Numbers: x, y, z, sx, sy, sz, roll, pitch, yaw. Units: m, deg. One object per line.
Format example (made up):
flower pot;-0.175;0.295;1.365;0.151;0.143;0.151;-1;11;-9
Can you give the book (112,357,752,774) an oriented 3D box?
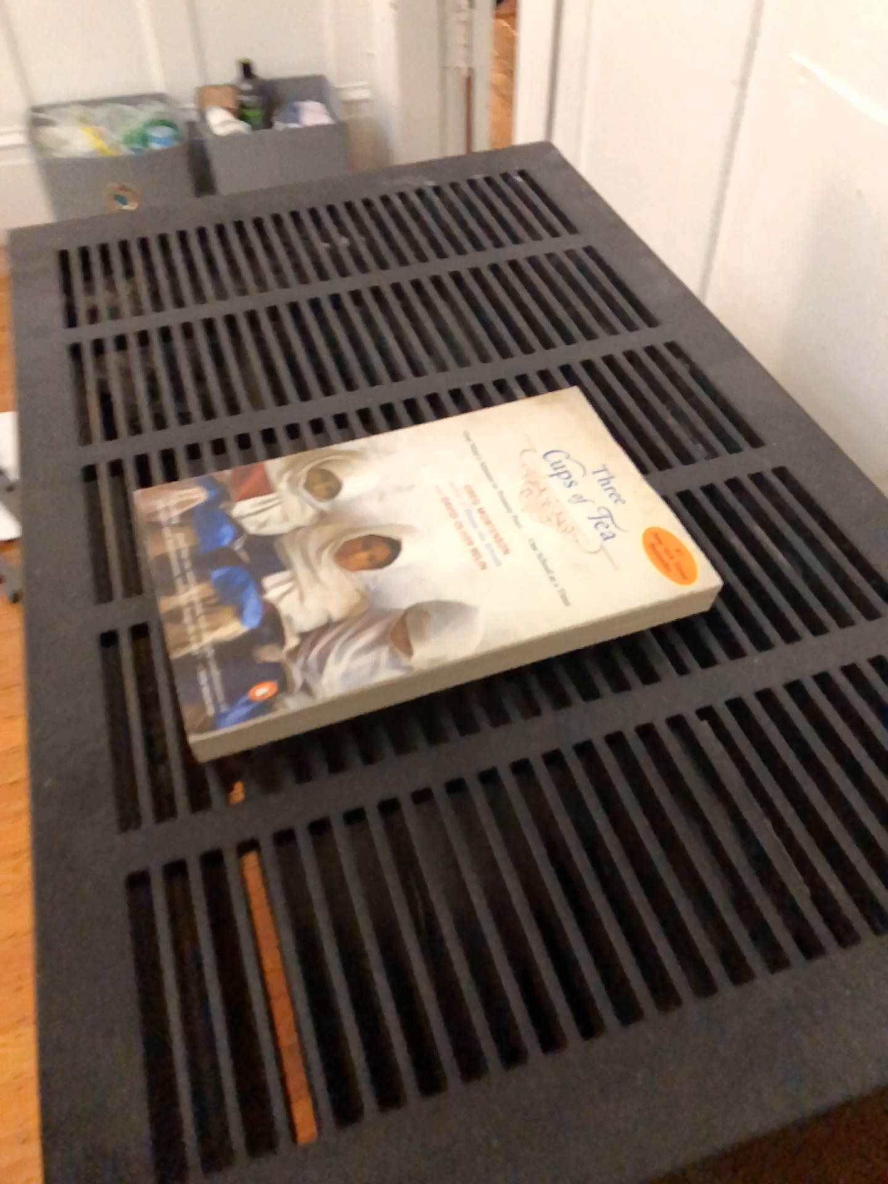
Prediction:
book;-0.011;-0.024;0.396;0.220;0.030;0.141;-16;48;-14
